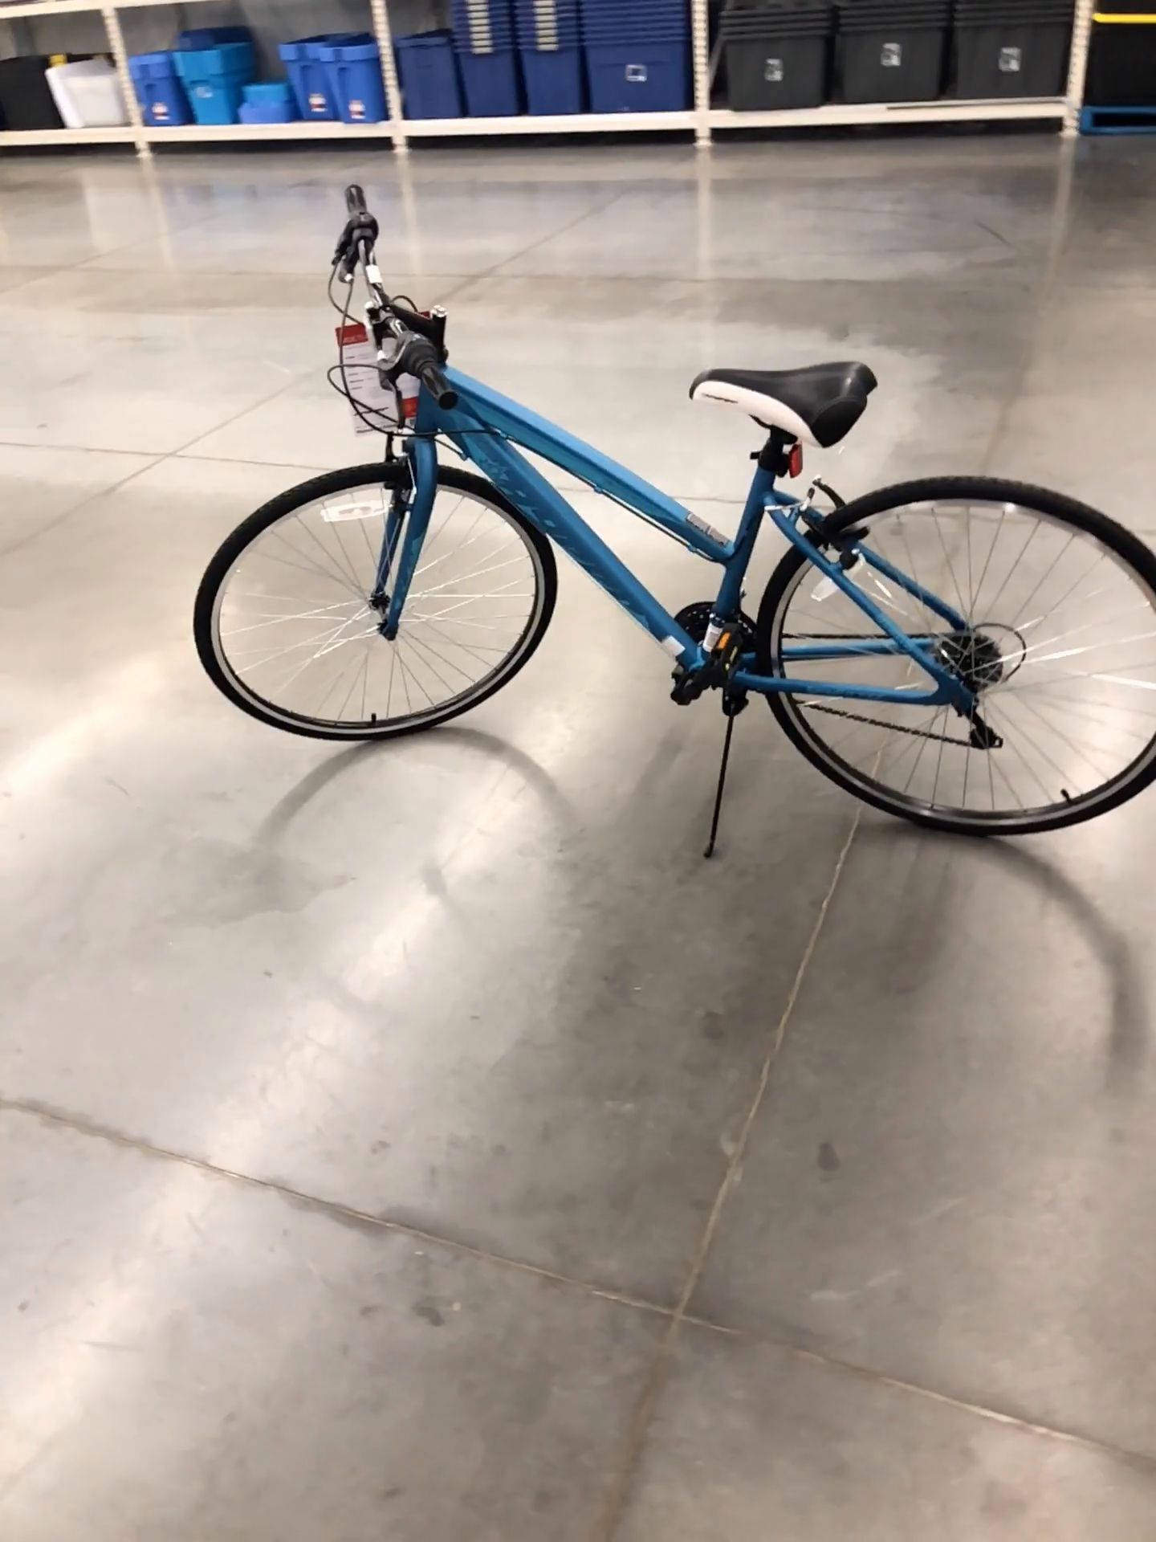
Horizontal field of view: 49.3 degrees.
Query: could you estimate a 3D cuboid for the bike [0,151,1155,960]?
[{"bbox_3d":[0.104,-0.381,1.992,1.606,0.978,0.581,6,35,15],"label":"bike"}]
